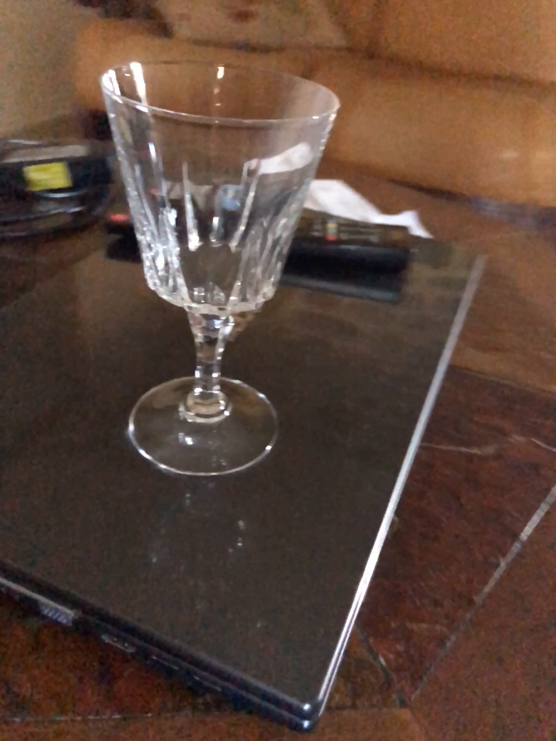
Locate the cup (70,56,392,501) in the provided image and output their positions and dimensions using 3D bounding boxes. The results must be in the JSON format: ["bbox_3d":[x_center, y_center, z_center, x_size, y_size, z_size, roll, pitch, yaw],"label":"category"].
[{"bbox_3d":[-0.030,-0.042,0.277,0.100,0.159,0.100,4,35,-3],"label":"cup"}]
